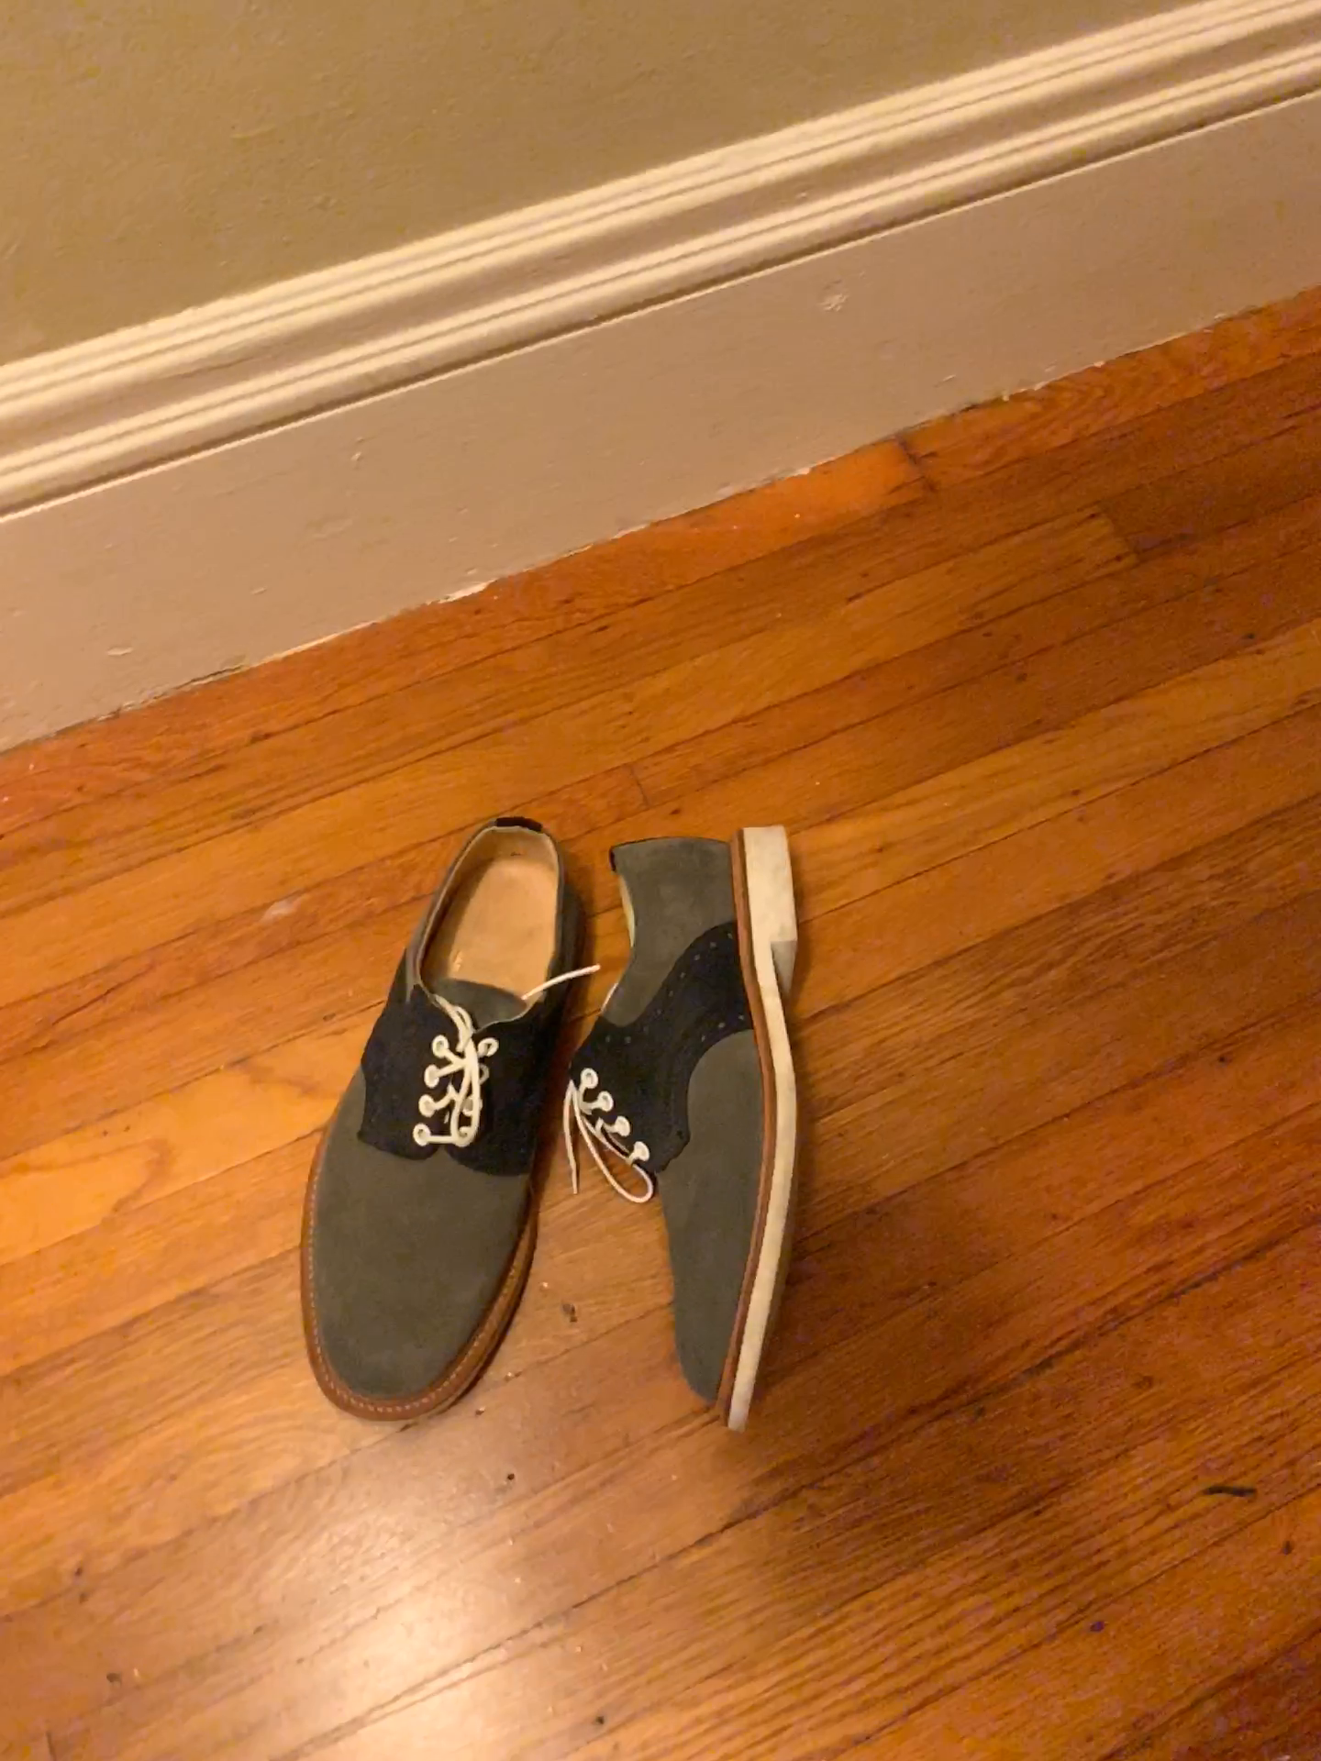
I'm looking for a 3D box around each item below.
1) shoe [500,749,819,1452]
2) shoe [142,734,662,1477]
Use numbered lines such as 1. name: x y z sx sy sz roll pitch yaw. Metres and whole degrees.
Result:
1. shoe: 0.008 0.106 0.664 0.120 0.130 0.310 3 66 3
2. shoe: -0.104 0.101 0.643 0.130 0.100 0.310 15 67 6
